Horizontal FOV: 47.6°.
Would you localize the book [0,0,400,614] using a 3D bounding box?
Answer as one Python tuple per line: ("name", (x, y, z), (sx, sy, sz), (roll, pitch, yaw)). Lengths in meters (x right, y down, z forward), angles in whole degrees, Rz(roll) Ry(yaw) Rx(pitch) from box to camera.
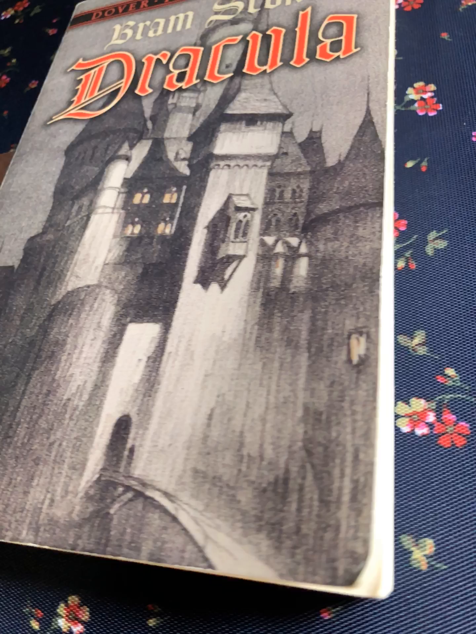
("book", (-0.019, -0.033, 0.167), (0.130, 0.033, 0.203), (-2, 62, 19))
